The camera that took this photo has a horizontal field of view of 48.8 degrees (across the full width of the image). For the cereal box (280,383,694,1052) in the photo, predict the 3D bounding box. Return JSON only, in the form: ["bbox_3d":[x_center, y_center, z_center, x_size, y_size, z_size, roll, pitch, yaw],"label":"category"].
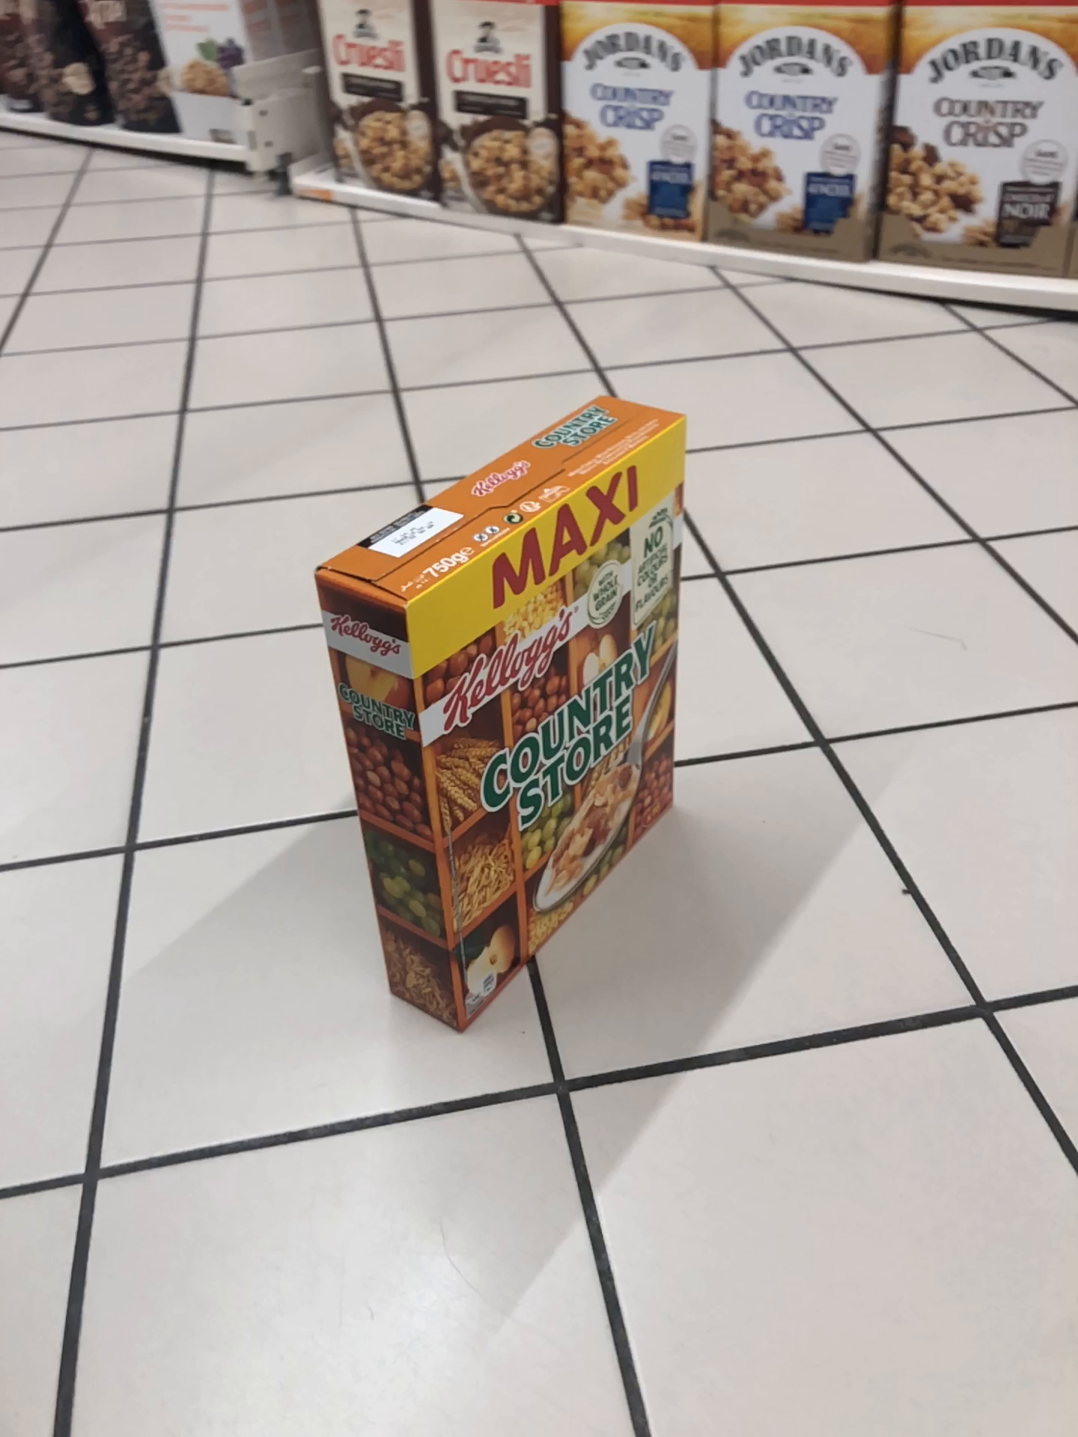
[{"bbox_3d":[-0.009,-0.002,0.555,0.060,0.239,0.201,22,43,28],"label":"cereal box"}]
